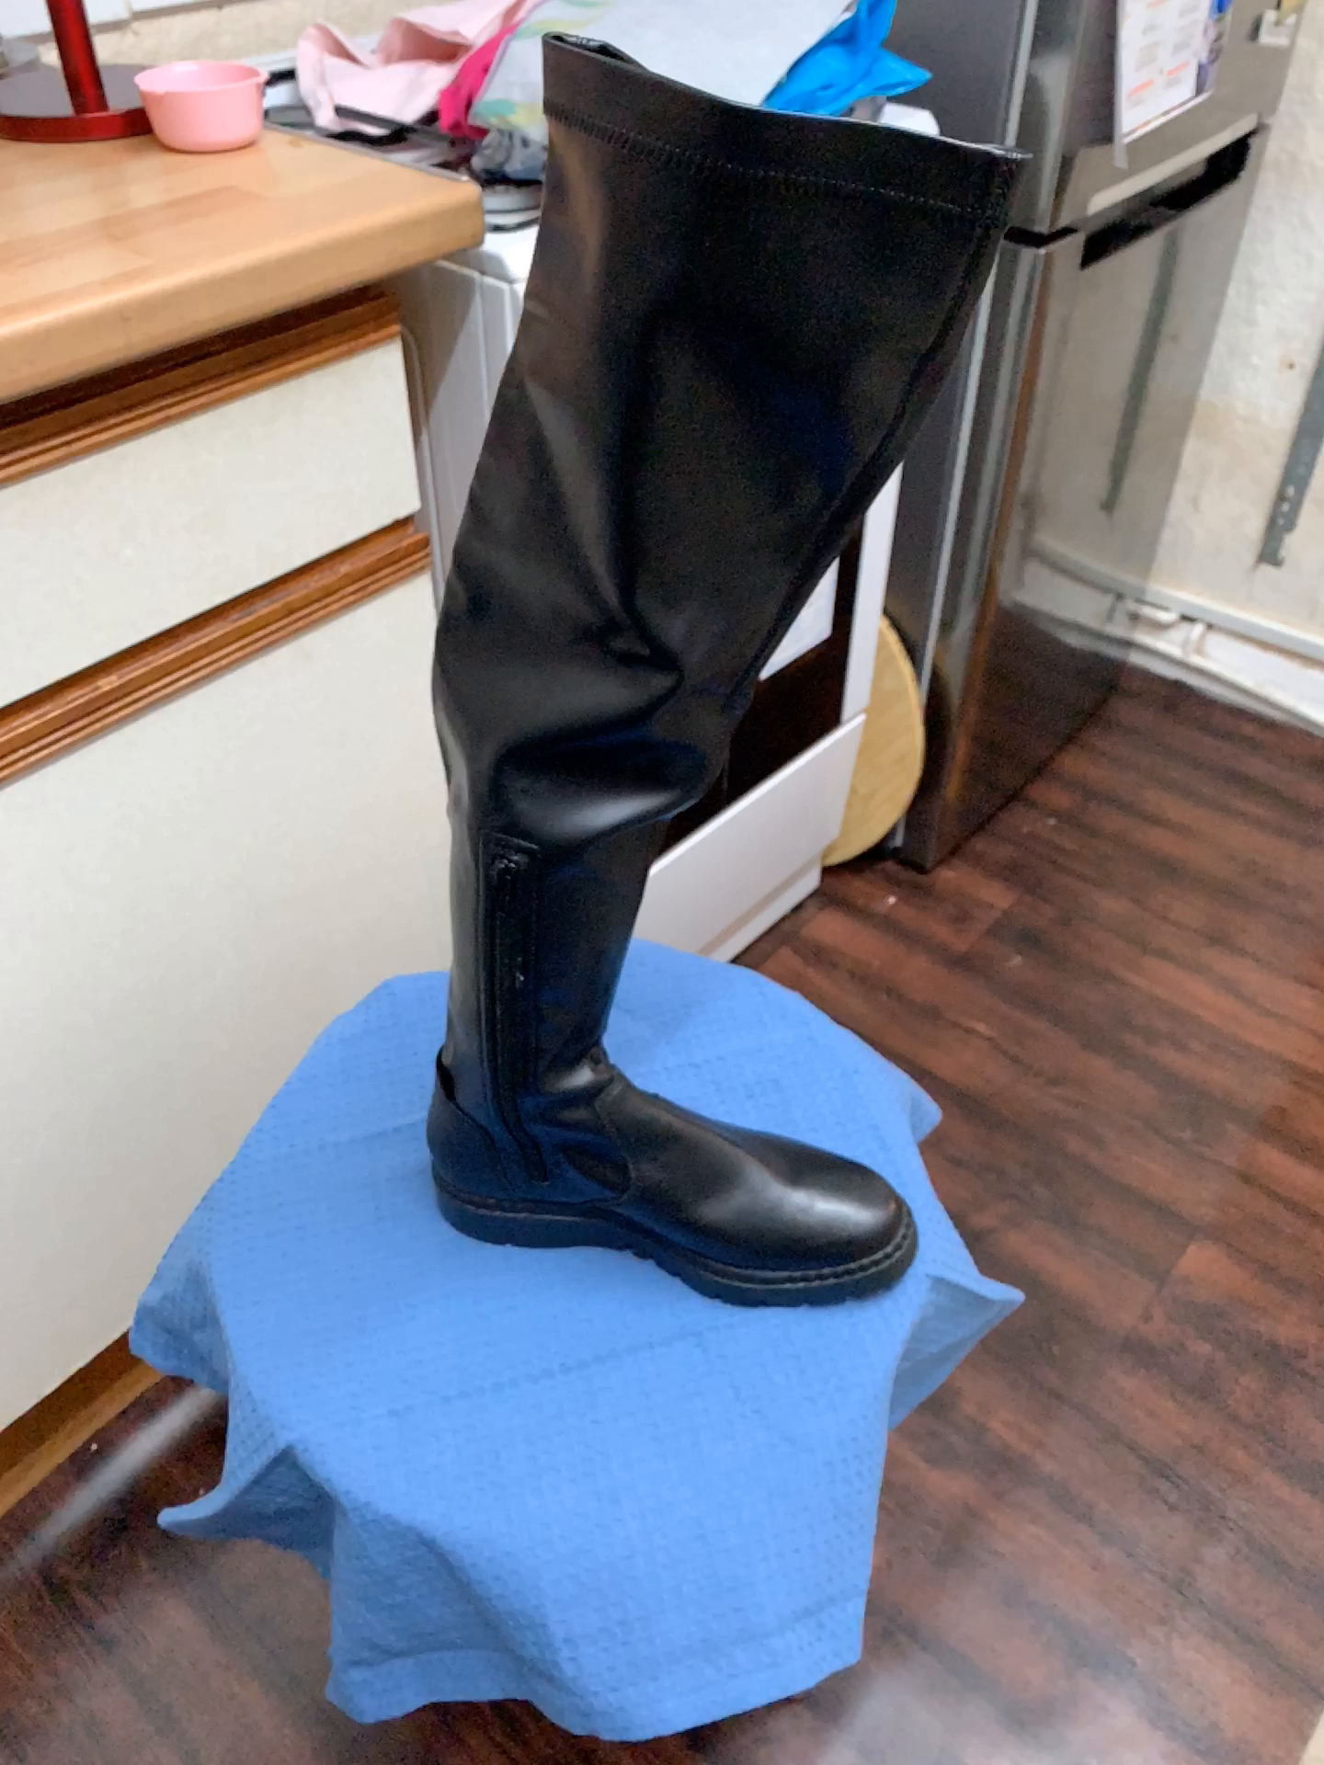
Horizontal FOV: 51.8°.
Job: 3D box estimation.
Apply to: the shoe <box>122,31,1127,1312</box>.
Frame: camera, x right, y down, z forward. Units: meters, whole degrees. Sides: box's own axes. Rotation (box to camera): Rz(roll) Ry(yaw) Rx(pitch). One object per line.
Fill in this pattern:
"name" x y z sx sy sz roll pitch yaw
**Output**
"shoe" -0.003 -0.035 0.573 0.271 0.535 0.107 6 41 9
